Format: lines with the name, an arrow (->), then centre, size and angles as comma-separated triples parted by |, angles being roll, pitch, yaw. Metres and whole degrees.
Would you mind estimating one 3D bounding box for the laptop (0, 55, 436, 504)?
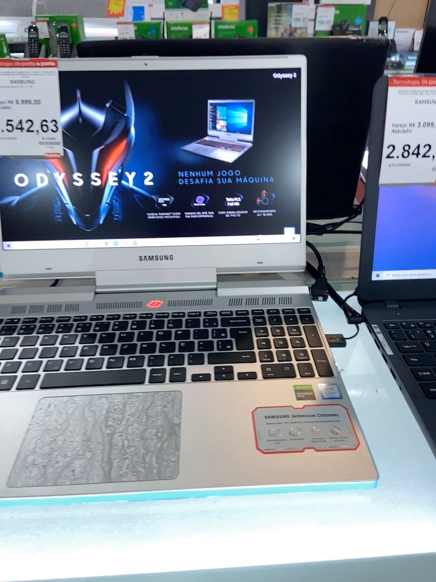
laptop -> -0.071, -0.059, 0.400 | 0.353, 0.225, 0.370 | -2, 34, -1
